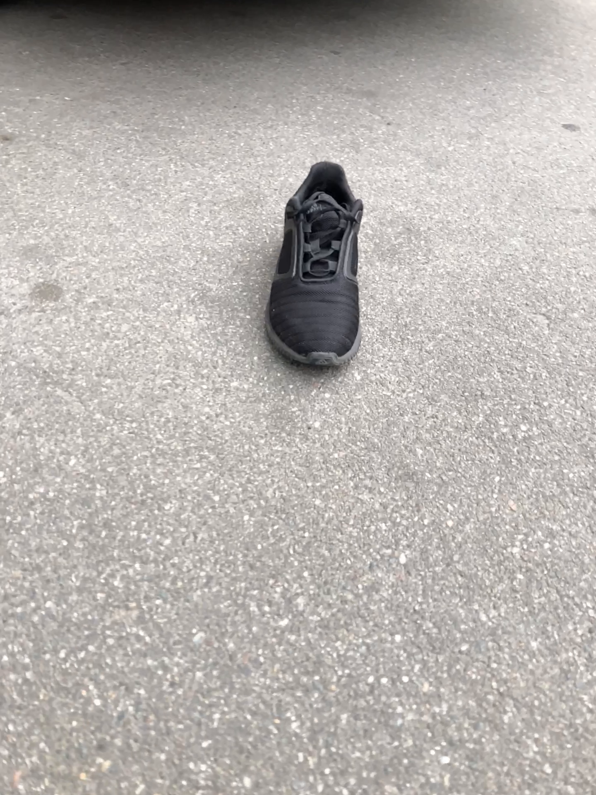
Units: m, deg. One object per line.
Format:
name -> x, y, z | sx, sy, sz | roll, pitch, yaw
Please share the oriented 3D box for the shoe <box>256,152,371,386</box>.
shoe -> 0.017, -0.152, 0.715 | 0.100, 0.109, 0.282 | 4, 44, -1
